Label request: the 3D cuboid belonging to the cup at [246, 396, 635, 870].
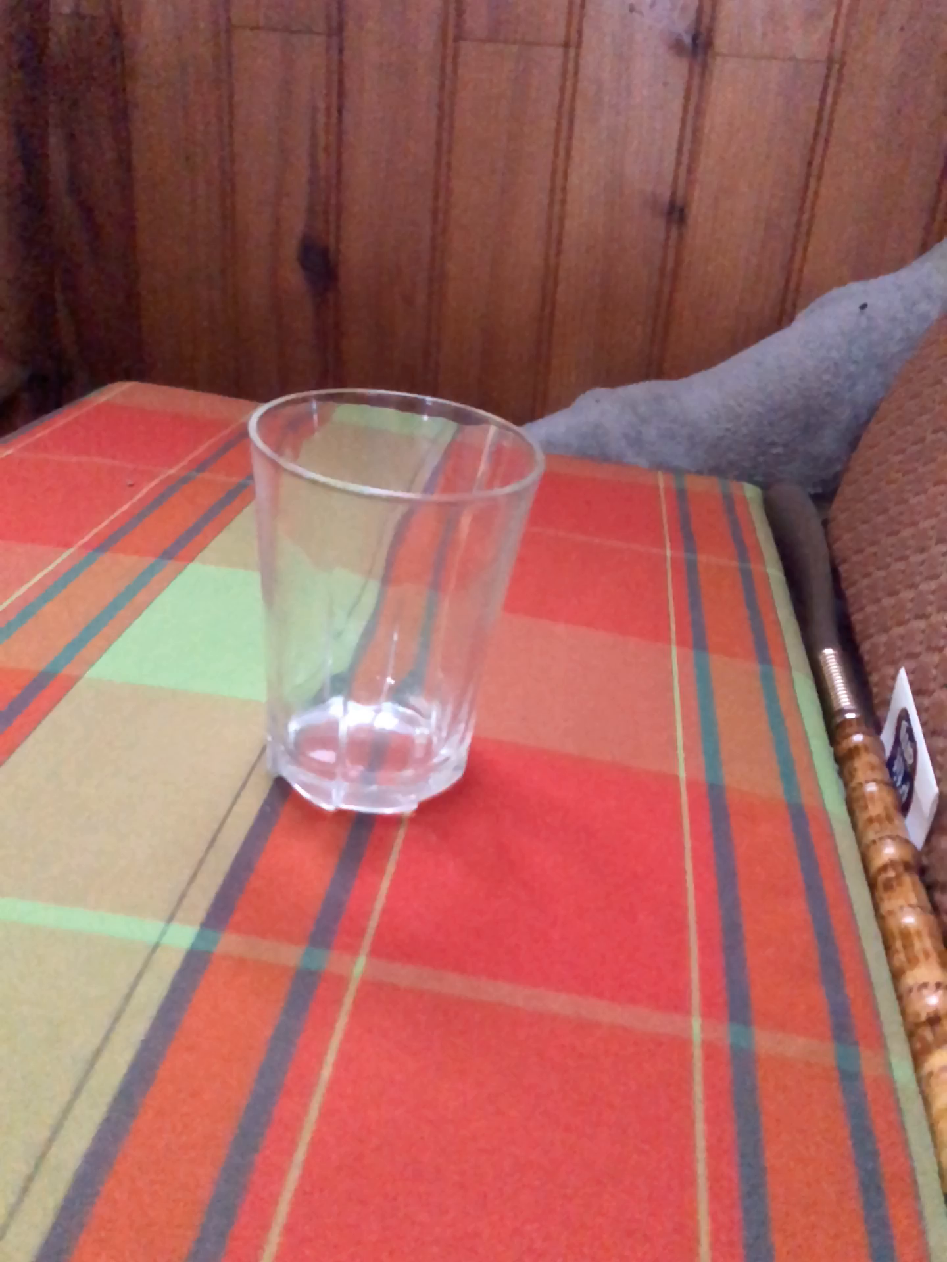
[{"bbox_3d":[-0.015,-0.003,0.239,0.070,0.079,0.070,5,30,-3],"label":"cup"}]
